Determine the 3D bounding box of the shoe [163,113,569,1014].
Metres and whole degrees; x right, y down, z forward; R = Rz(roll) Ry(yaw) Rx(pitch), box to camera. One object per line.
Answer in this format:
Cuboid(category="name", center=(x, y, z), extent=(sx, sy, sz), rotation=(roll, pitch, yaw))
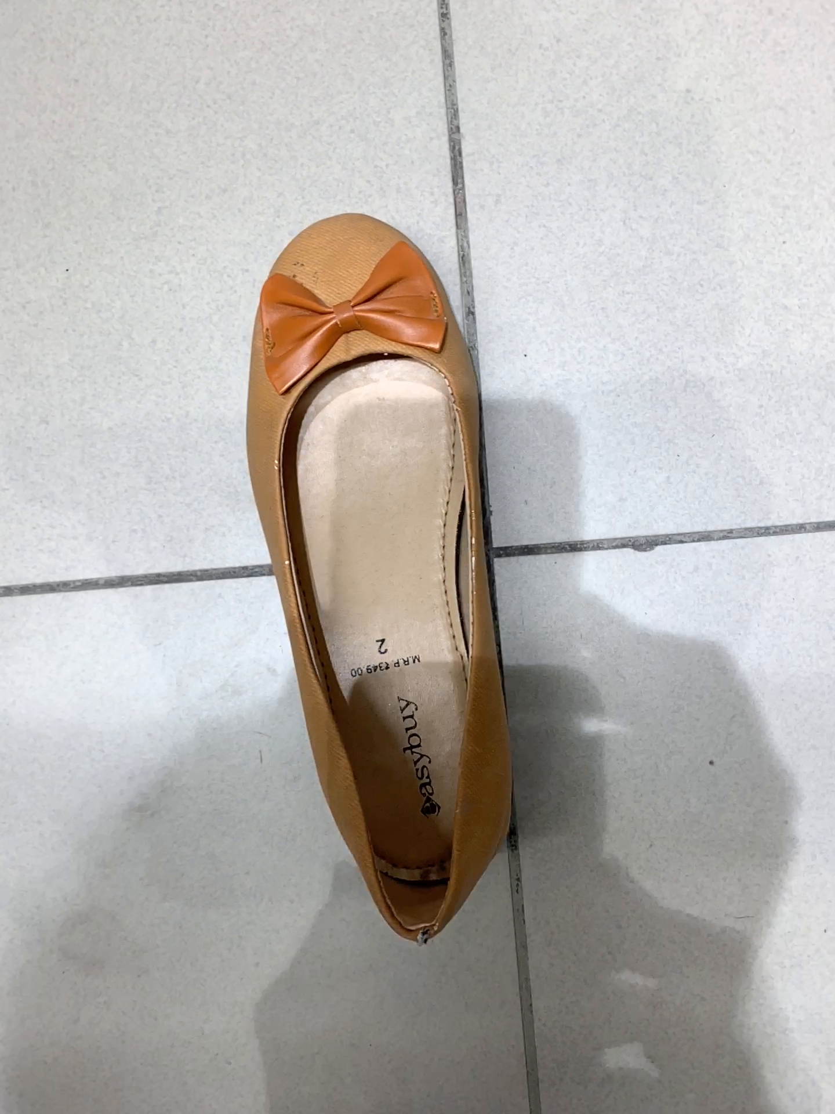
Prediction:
Cuboid(category="shoe", center=(-0.011, 0.003, 0.253), extent=(0.080, 0.070, 0.220), rotation=(-6, 90, 4))
